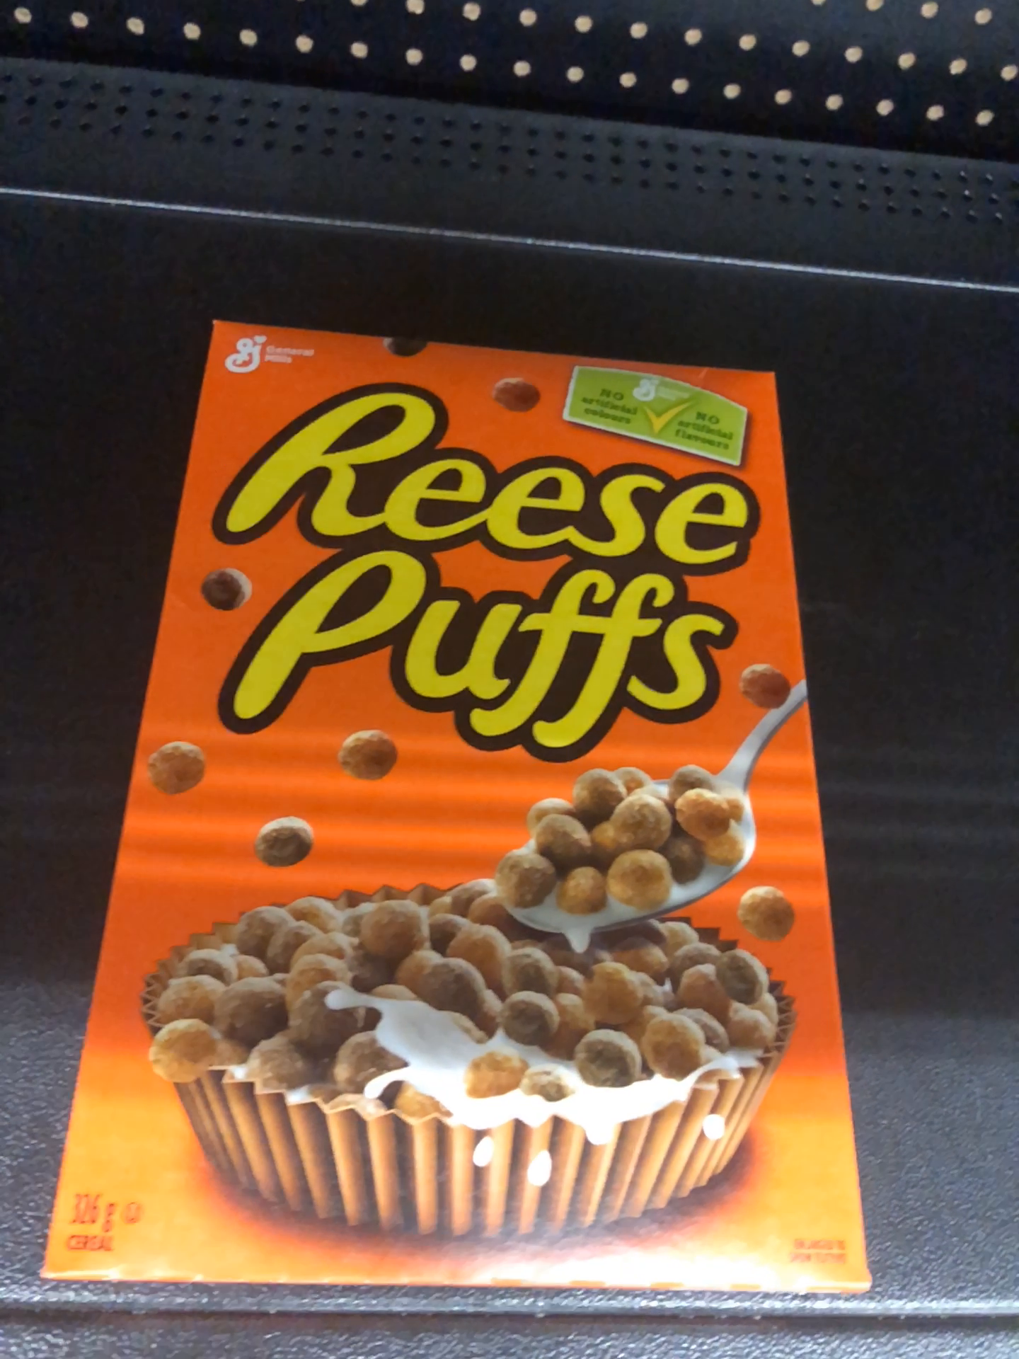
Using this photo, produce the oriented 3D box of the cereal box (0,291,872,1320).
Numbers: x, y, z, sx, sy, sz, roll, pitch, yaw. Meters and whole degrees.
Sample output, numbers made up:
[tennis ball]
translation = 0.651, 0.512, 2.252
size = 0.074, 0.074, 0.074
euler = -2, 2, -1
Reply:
[cereal box]
translation = -0.015, 0.021, 0.337
size = 0.200, 0.050, 0.291
euler = 4, 64, -5
